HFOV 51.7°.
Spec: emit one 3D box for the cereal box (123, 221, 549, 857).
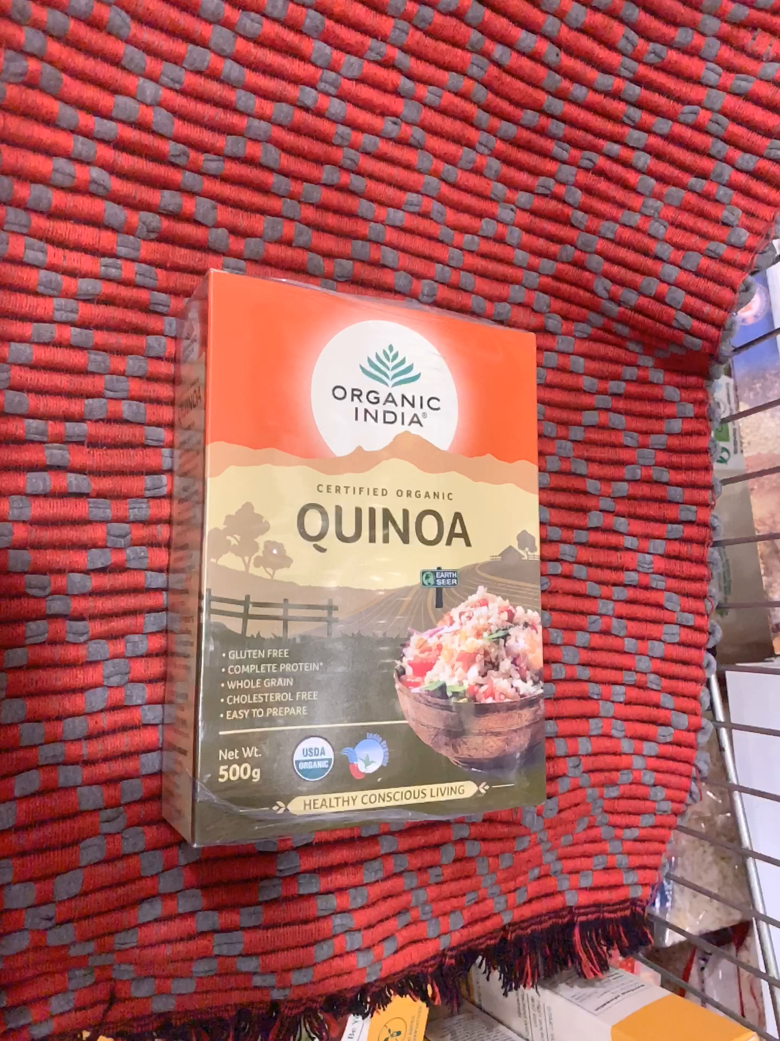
[{"bbox_3d":[-0.017,0.008,0.288,0.130,0.070,0.180,4,84,-27],"label":"cereal box"}]
